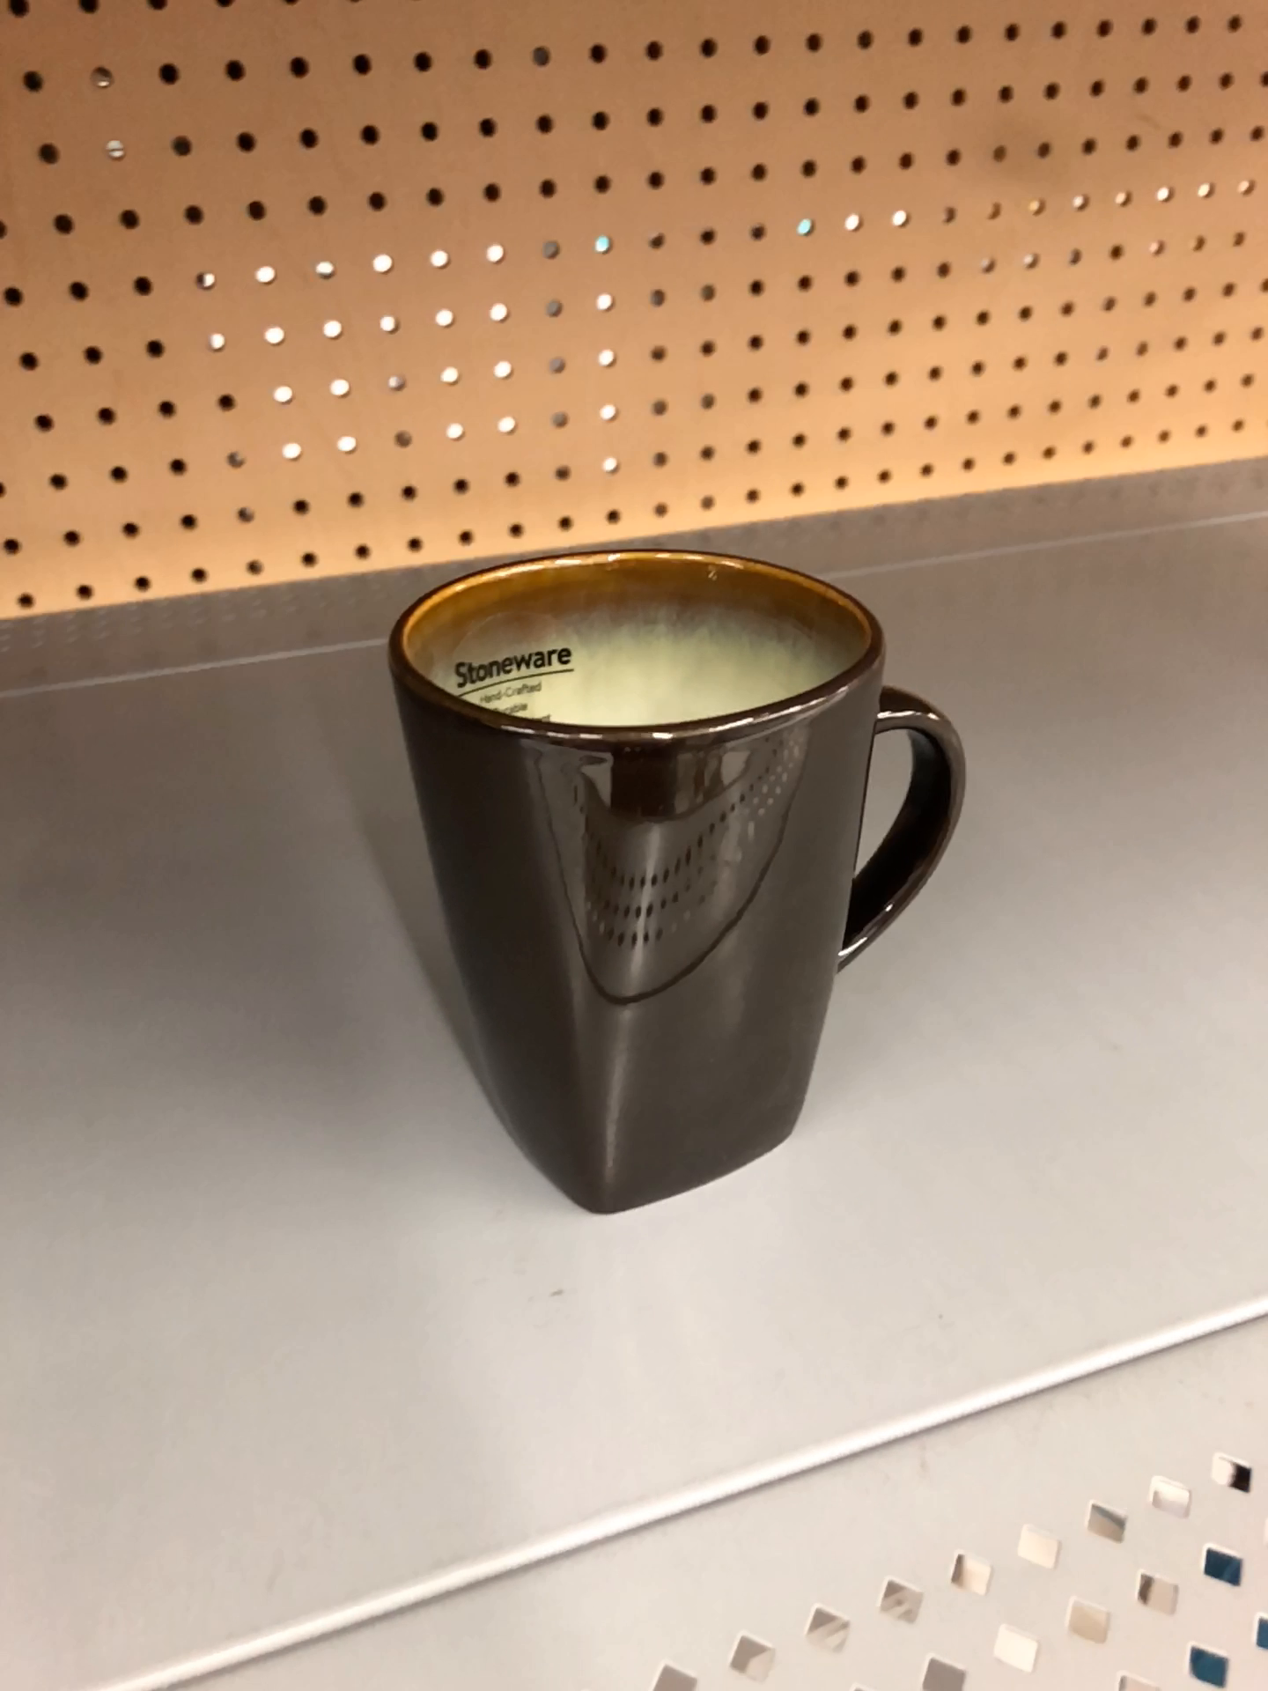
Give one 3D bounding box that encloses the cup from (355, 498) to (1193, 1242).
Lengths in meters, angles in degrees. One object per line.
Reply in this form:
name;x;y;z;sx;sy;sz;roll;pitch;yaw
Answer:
cup;0.025;-0.006;0.302;0.136;0.099;0.095;-15;32;-26
